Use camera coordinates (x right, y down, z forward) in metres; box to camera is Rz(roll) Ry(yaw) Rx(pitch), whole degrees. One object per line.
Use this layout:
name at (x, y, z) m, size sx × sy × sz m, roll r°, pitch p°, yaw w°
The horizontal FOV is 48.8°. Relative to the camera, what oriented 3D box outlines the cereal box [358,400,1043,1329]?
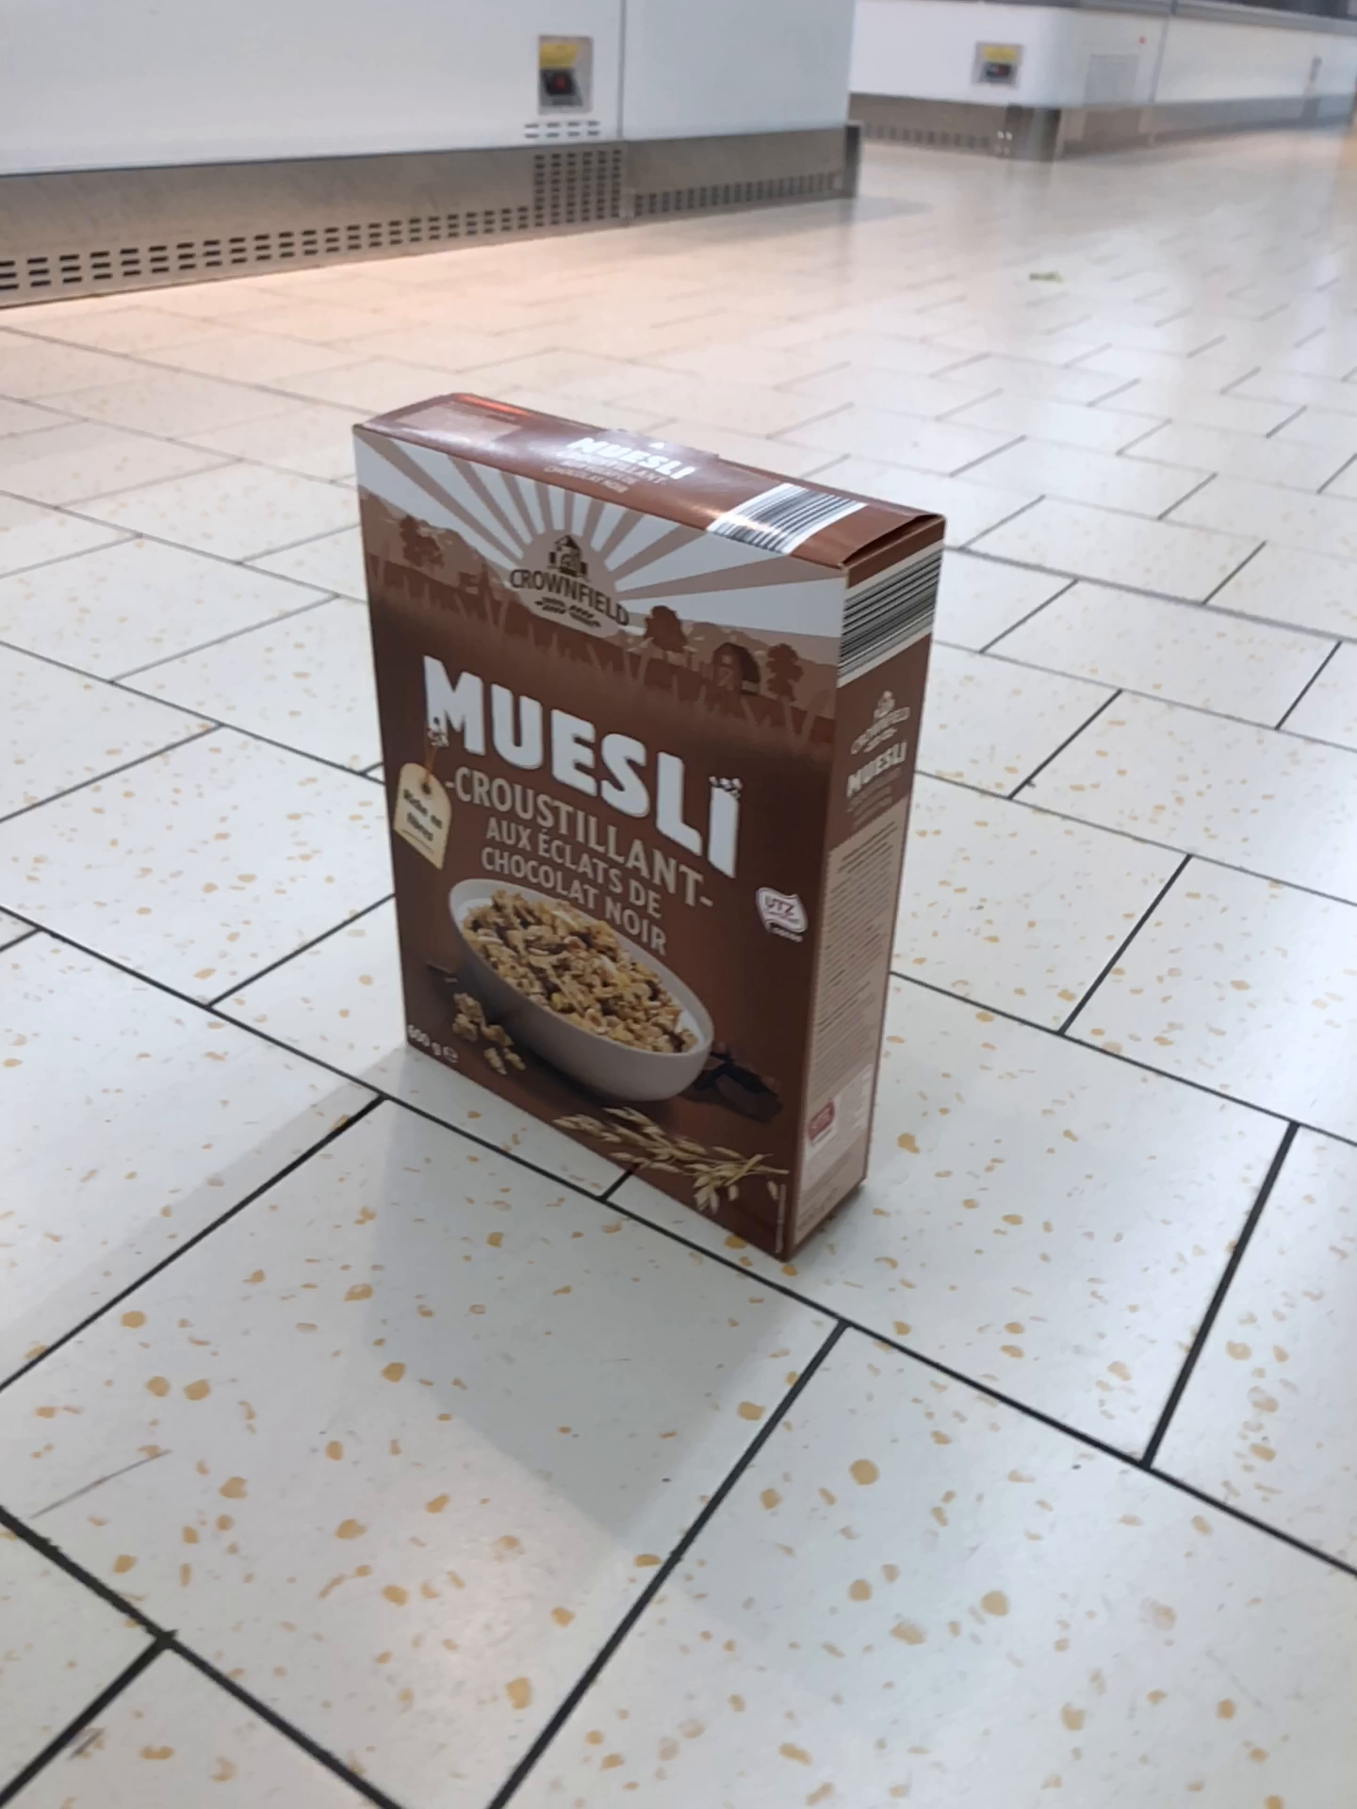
cereal box at (-0.007, -0.019, 0.490) m, size 0.200 × 0.239 × 0.070 m, roll 26°, pitch 37°, yaw 34°
